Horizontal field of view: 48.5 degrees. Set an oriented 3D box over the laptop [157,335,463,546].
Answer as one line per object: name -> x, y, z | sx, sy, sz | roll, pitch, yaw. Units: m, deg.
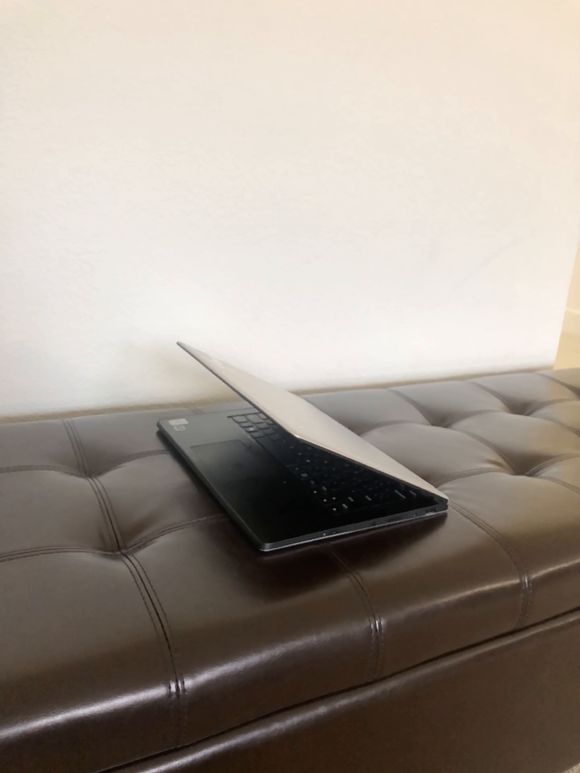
laptop -> 0.000, 0.033, 0.691 | 0.198, 0.097, 0.294 | -6, 21, -28
